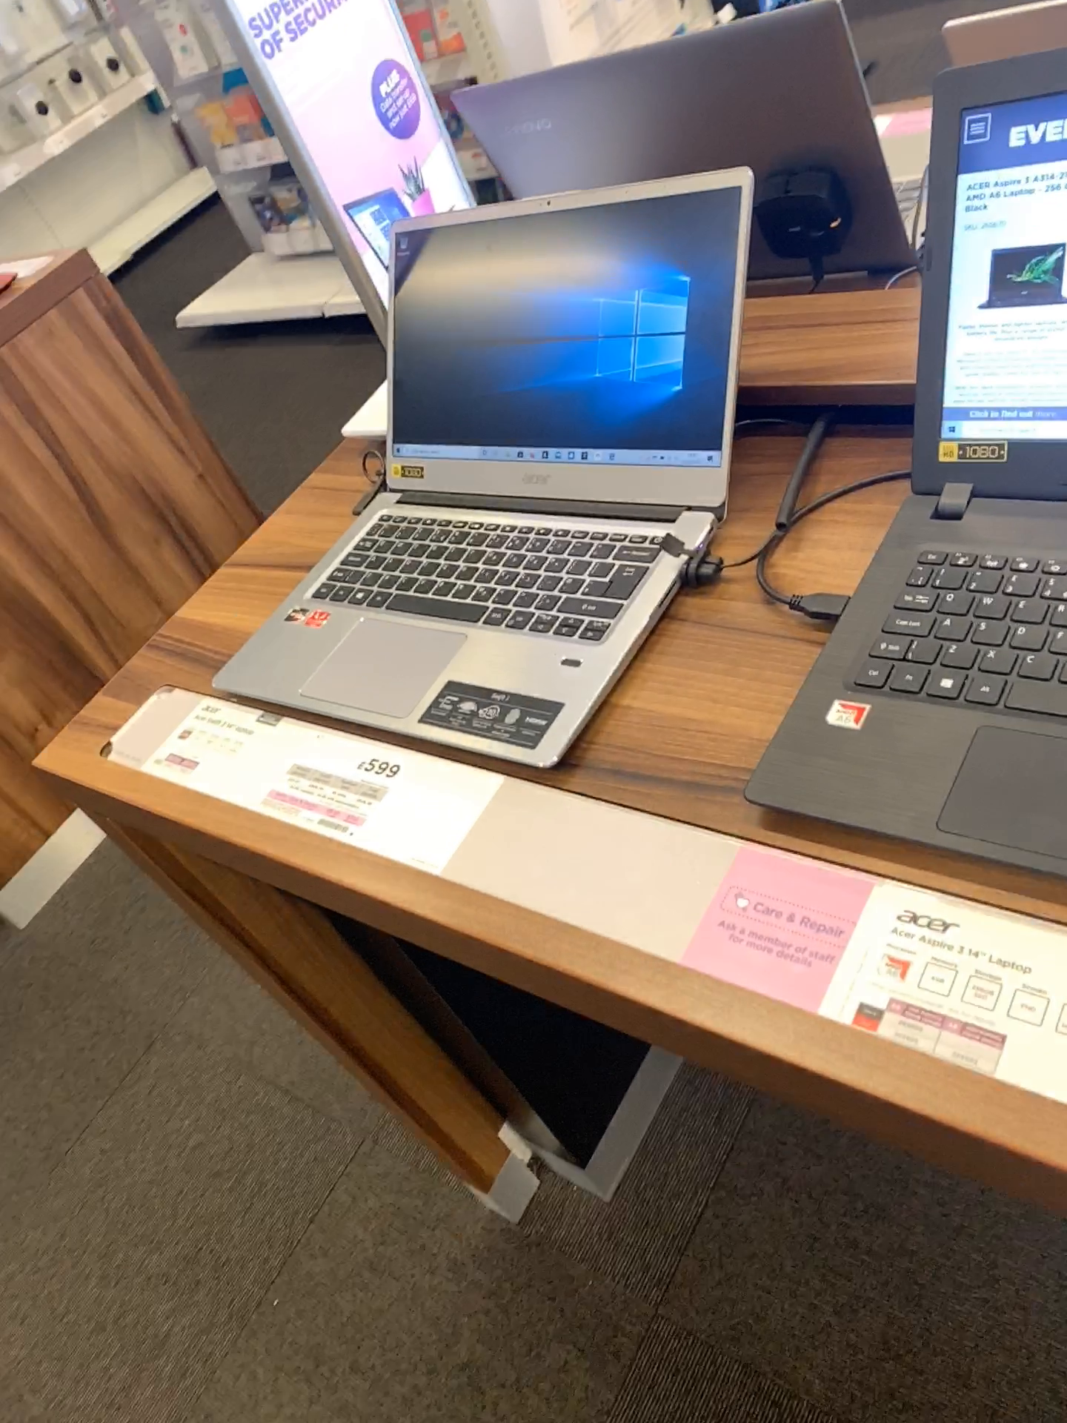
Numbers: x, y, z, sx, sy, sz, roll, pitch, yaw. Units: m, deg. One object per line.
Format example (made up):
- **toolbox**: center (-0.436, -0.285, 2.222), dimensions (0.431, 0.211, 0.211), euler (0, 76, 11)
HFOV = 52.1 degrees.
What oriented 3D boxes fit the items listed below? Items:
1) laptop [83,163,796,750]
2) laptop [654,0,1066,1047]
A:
- **laptop**: center (-0.051, -0.186, 0.743), dimensions (0.308, 0.153, 0.360), euler (11, 54, 37)
- **laptop**: center (0.311, -0.125, 0.459), dimensions (0.372, 0.191, 0.357), euler (9, 54, 34)
